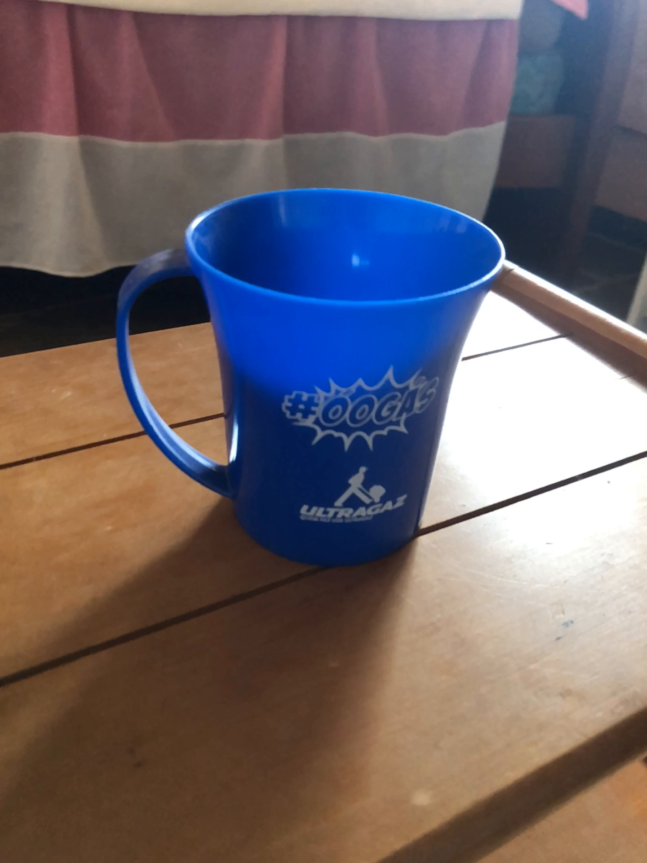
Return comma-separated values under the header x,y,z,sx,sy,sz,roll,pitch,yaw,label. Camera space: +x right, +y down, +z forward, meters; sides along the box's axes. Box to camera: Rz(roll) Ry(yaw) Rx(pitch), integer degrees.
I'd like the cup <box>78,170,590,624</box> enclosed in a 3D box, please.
x,y,z,sx,sy,sz,roll,pitch,yaw,label
-0.007,-0.019,0.231,0.120,0.099,0.101,-4,35,-13,cup
